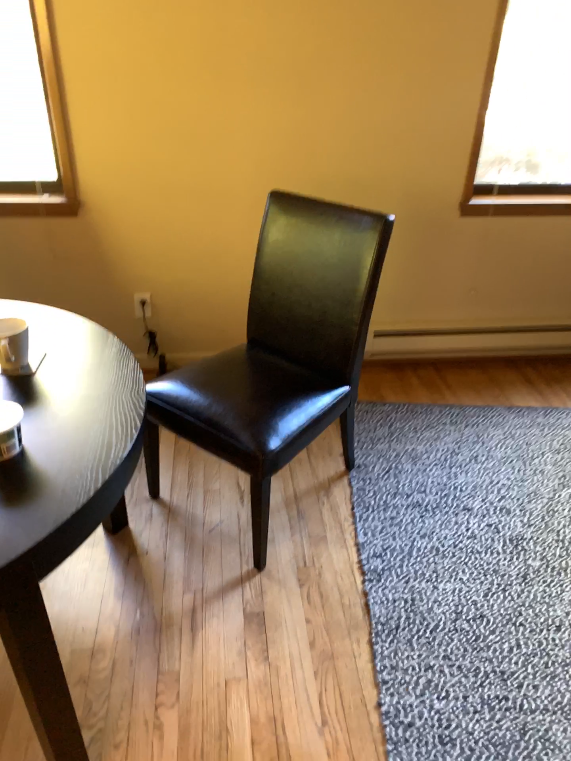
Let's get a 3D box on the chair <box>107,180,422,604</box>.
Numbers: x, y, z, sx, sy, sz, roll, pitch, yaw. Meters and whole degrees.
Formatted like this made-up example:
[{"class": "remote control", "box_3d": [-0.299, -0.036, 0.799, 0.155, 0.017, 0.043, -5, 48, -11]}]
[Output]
[{"class": "chair", "box_3d": [-0.056, 0.004, 1.927, 0.622, 1.083, 0.652, 22, 37, 29]}]
